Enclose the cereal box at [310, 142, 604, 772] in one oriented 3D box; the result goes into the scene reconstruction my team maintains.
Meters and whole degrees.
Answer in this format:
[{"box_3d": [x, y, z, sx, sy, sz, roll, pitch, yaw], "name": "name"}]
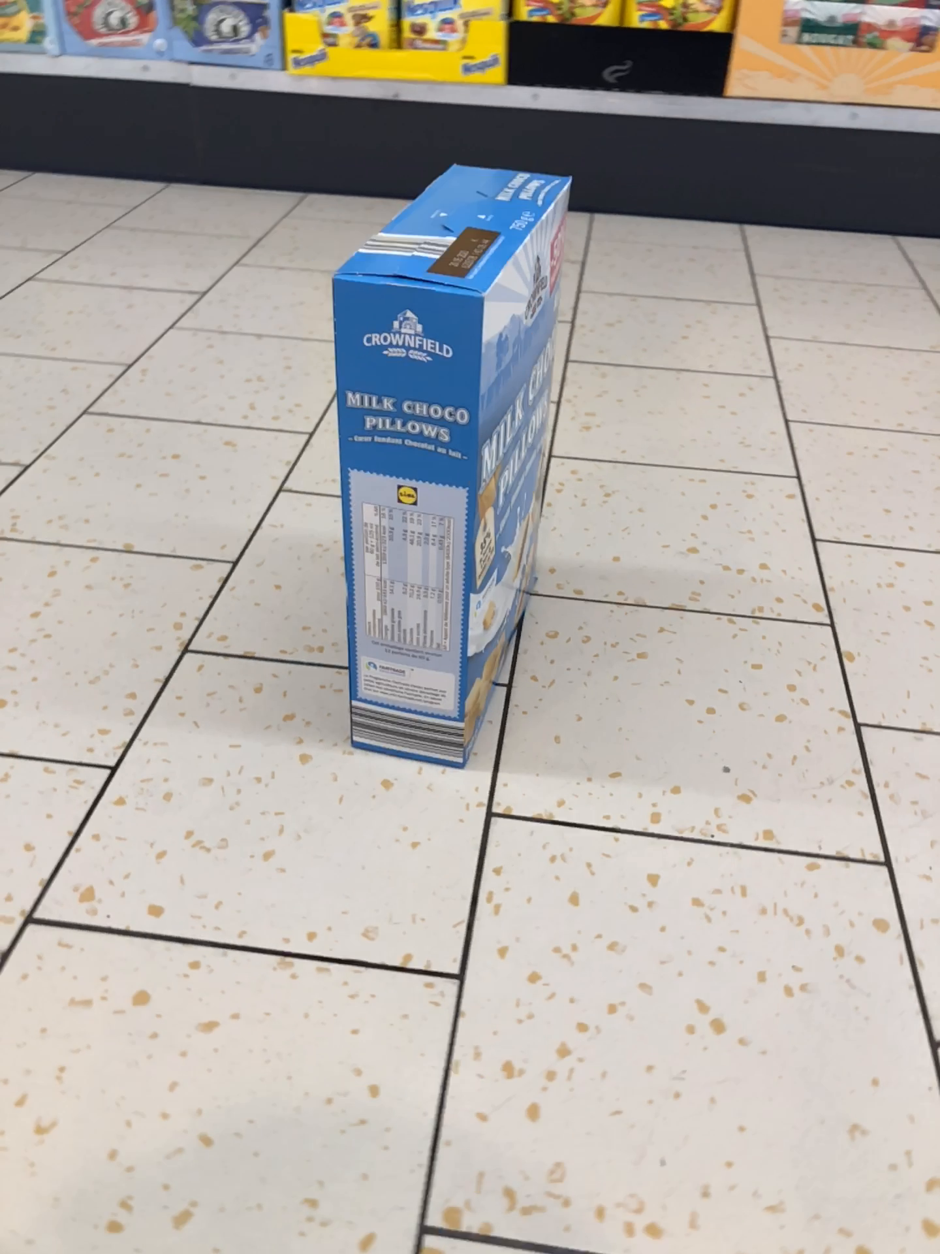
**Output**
[{"box_3d": [0.001, -0.096, 0.553, 0.080, 0.258, 0.211, 11, 37, 12], "name": "cereal box"}]
